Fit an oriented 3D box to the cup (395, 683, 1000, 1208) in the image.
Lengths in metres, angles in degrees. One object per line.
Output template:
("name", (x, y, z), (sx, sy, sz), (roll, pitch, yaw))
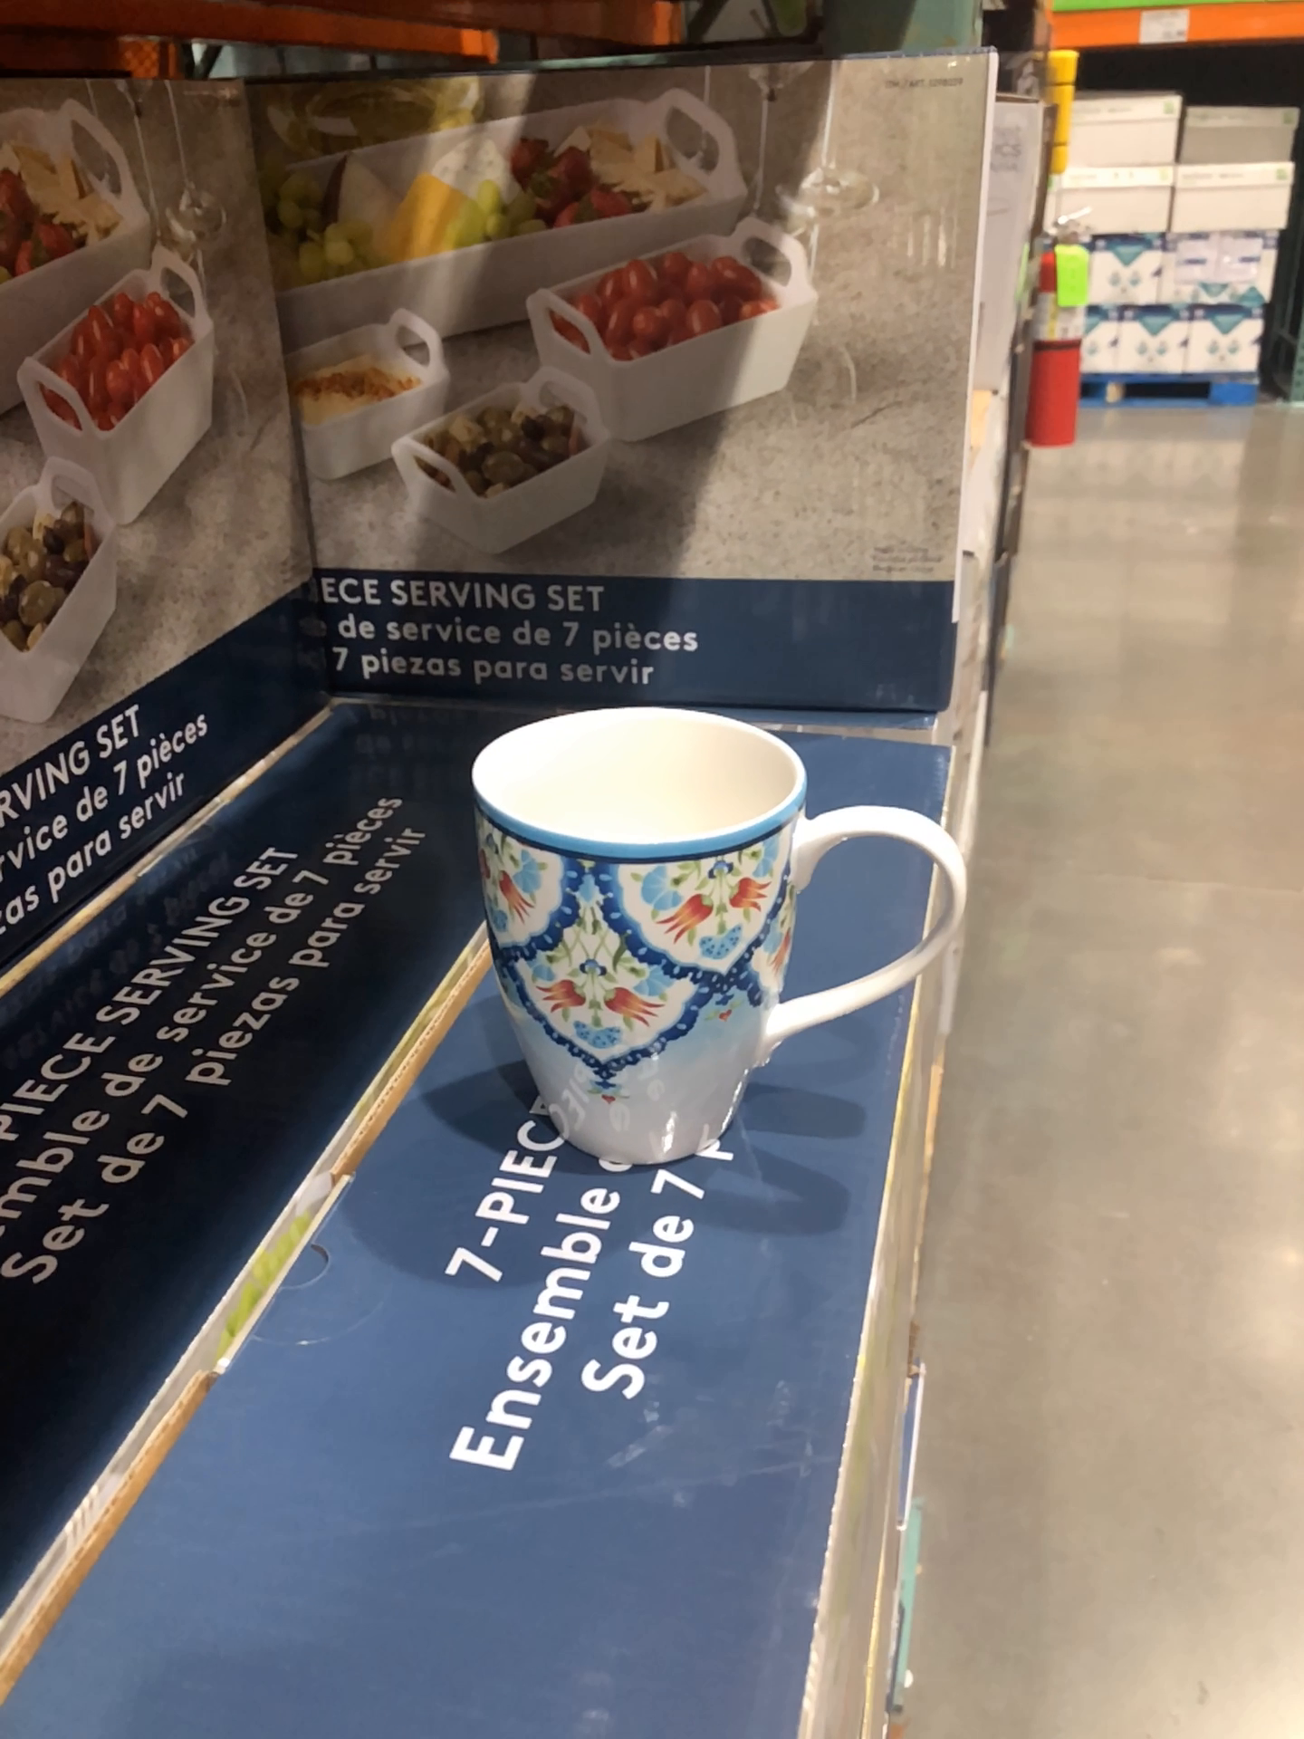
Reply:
("cup", (0.018, 0.014, 0.381), (0.136, 0.096, 0.090), (4, 28, 12))
